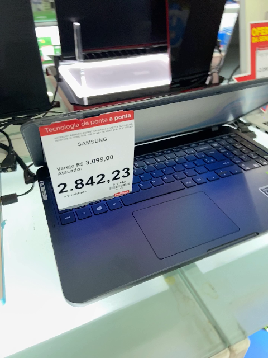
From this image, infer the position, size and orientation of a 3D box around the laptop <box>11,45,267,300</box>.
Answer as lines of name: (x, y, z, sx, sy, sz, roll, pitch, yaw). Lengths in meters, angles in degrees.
laptop: (0.063, -0.056, 0.354, 0.366, 0.146, 0.232, -15, 38, -19)

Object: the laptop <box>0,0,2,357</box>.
laptop: (-0.357, -0.039, 0.255, 0.368, 0.240, 0.332, -14, 38, -17)
